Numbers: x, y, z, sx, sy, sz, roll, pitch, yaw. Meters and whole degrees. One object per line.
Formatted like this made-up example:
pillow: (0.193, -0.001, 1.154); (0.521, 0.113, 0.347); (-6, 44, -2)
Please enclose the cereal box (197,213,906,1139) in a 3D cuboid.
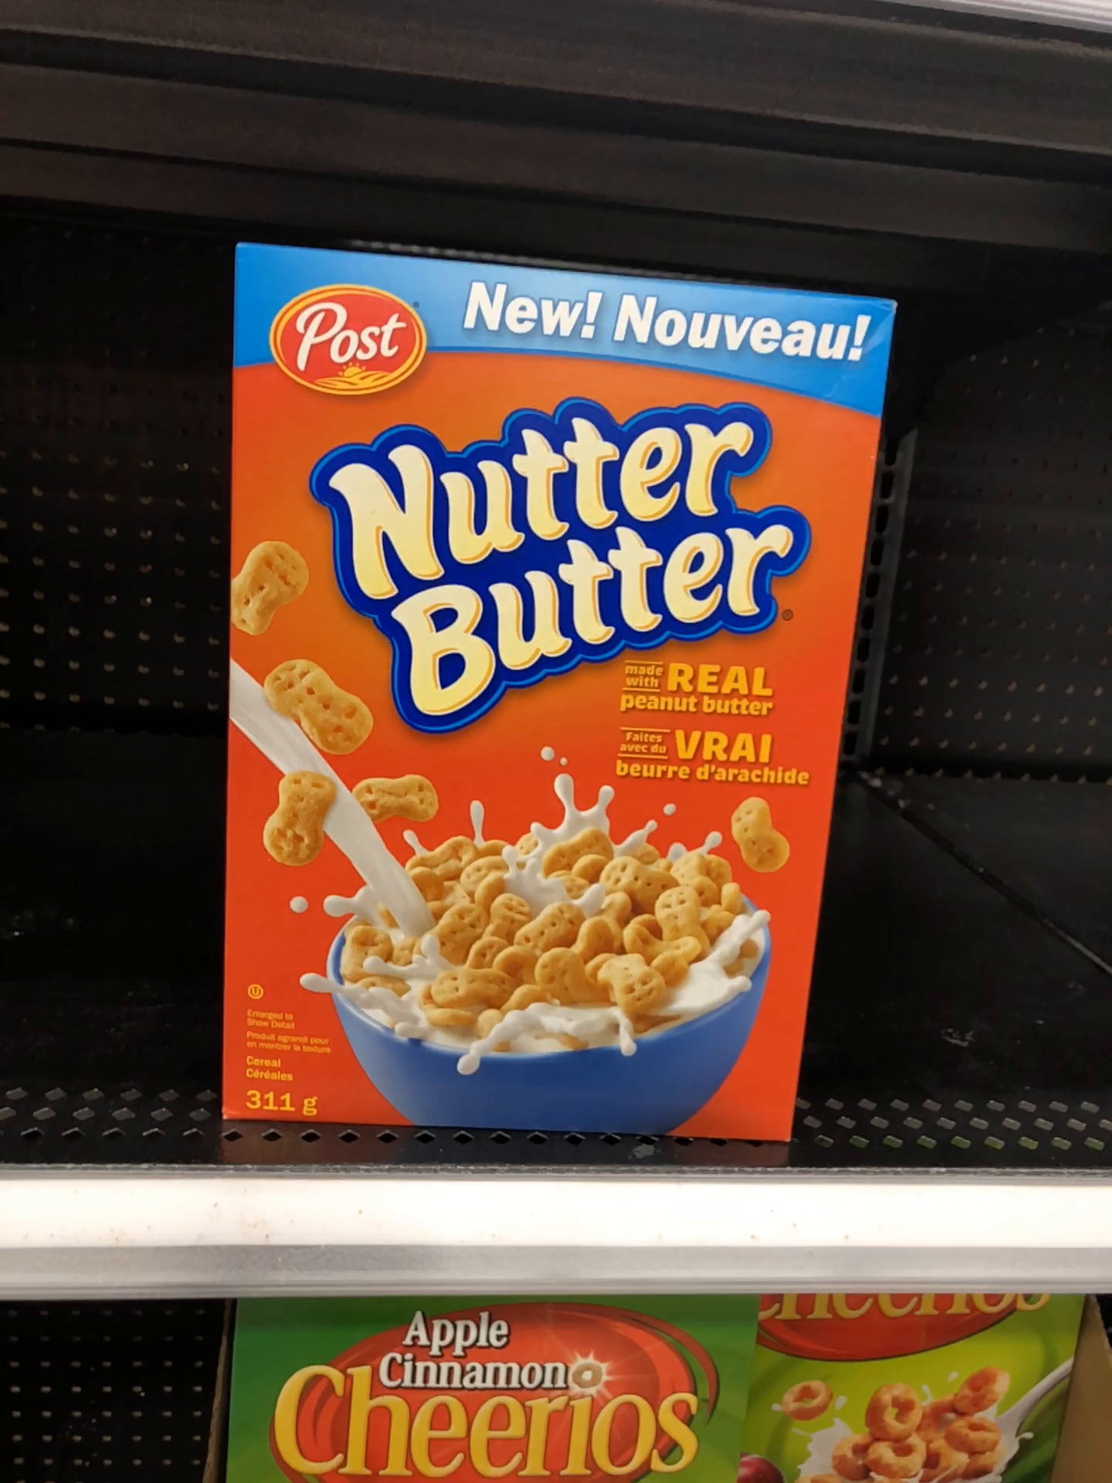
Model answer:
cereal box: (-0.010, -0.014, 0.412); (0.200, 0.279, 0.060); (4, 13, -4)
